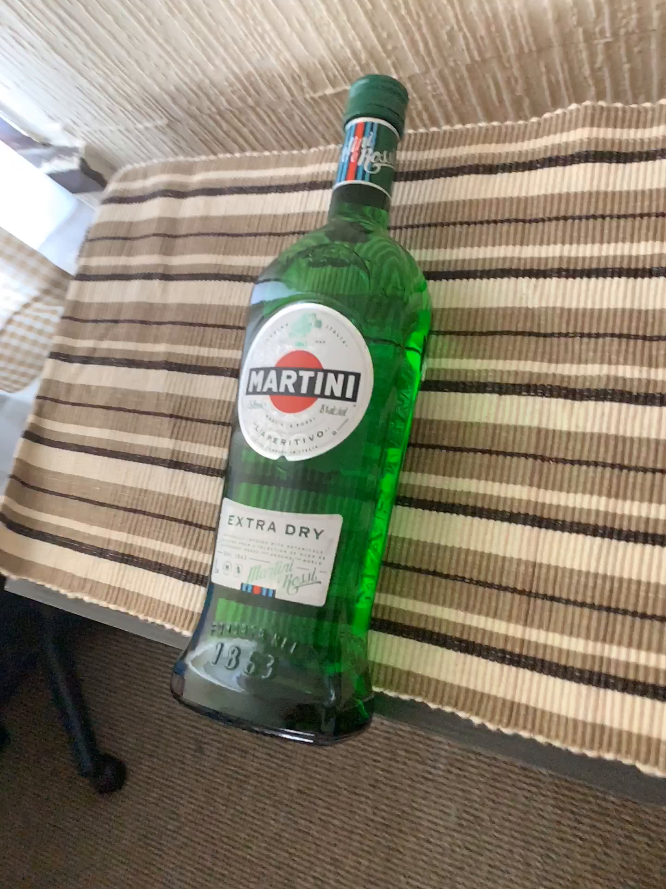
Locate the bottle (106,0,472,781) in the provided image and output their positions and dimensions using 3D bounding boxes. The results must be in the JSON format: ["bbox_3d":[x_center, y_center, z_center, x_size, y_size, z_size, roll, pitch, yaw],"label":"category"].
[{"bbox_3d":[-0.013,-0.037,0.310,0.090,0.070,0.320,6,82,28],"label":"bottle"}]
